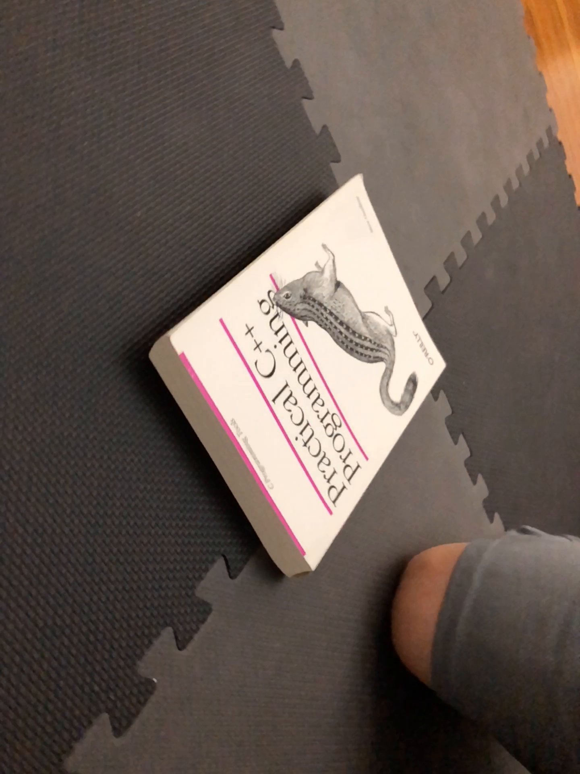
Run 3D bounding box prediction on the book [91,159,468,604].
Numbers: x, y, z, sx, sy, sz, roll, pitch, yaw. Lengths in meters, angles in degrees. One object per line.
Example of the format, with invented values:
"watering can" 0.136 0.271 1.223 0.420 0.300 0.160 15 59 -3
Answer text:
"book" 0.021 -0.017 0.454 0.200 0.050 0.251 57 47 -18
